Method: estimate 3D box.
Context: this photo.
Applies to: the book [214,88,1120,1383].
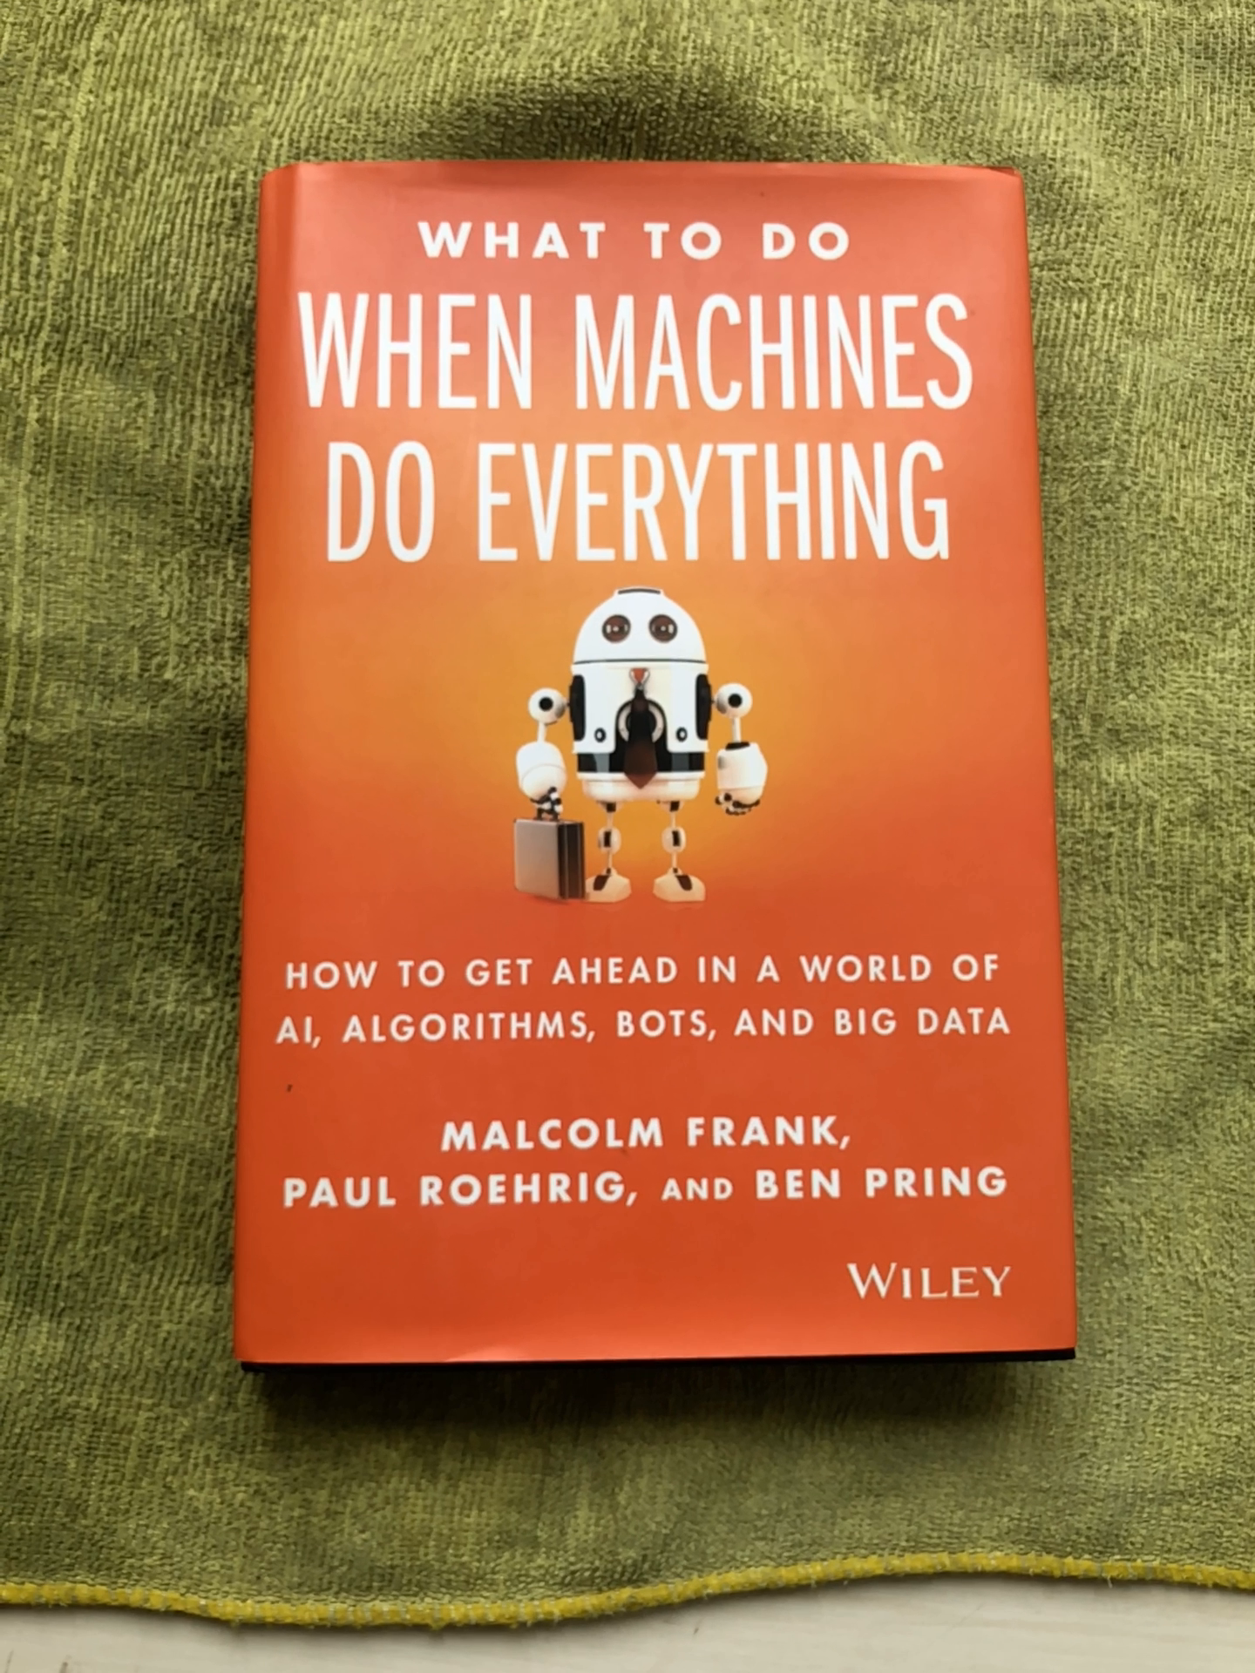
[{"bbox_3d":[0.007,-0.023,0.280,0.160,0.040,0.240,0,84,-3],"label":"book"}]
